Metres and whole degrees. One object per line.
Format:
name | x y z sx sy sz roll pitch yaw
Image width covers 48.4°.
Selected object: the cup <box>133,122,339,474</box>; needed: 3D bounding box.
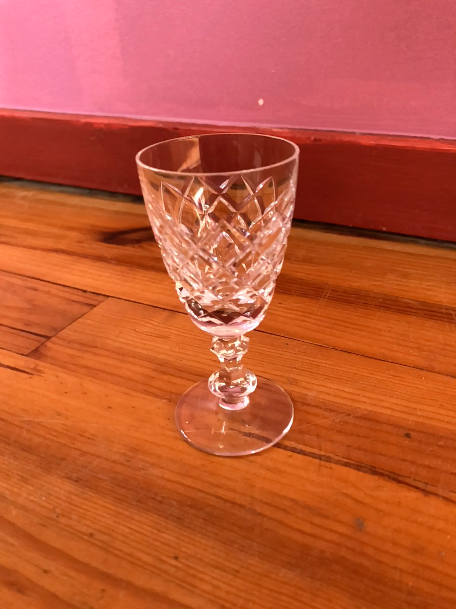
cup | 0.001 -0.004 0.195 0.056 0.113 0.060 -3 28 1
